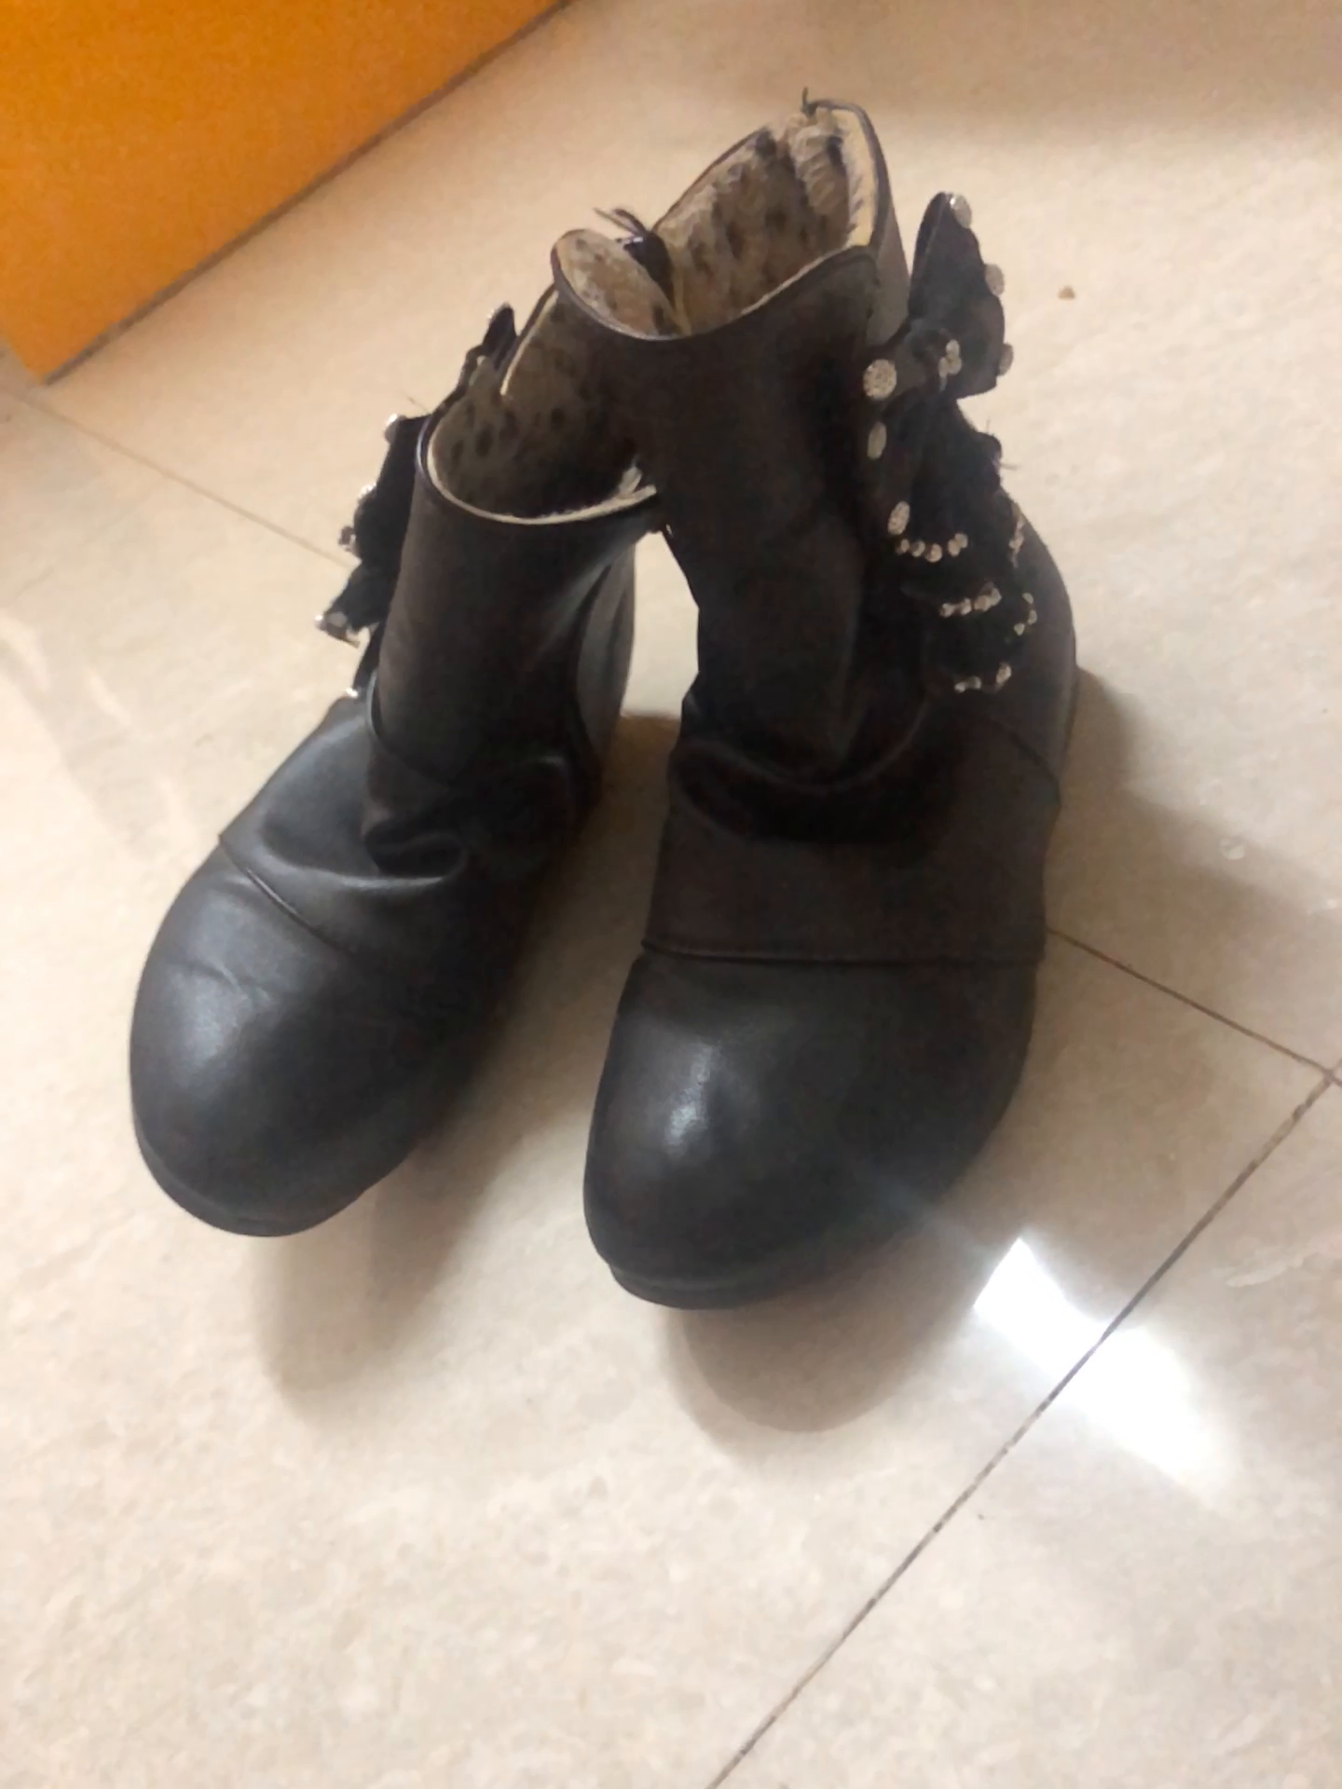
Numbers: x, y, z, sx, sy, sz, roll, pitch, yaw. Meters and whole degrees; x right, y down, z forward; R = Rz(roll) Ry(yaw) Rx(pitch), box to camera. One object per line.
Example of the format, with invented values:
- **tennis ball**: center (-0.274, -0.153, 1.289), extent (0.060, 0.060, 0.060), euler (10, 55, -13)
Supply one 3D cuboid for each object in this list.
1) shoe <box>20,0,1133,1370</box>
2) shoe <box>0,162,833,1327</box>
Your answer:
- **shoe**: center (0.013, -0.050, 0.287), extent (0.090, 0.139, 0.221), euler (0, 50, 31)
- **shoe**: center (-0.054, -0.032, 0.333), extent (0.090, 0.139, 0.201), euler (23, 58, 3)
